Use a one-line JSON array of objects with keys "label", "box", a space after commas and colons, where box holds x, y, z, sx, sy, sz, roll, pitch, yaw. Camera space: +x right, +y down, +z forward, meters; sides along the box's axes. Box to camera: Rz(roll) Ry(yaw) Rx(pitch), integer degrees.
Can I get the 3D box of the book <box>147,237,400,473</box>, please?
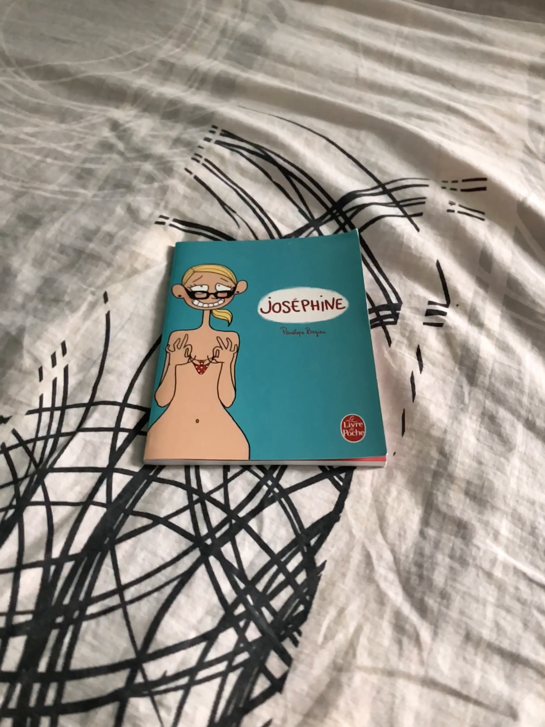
[{"label": "book", "box": [0.001, -0.016, 0.406, 0.144, 0.014, 0.188, -2, 51, 3]}]
